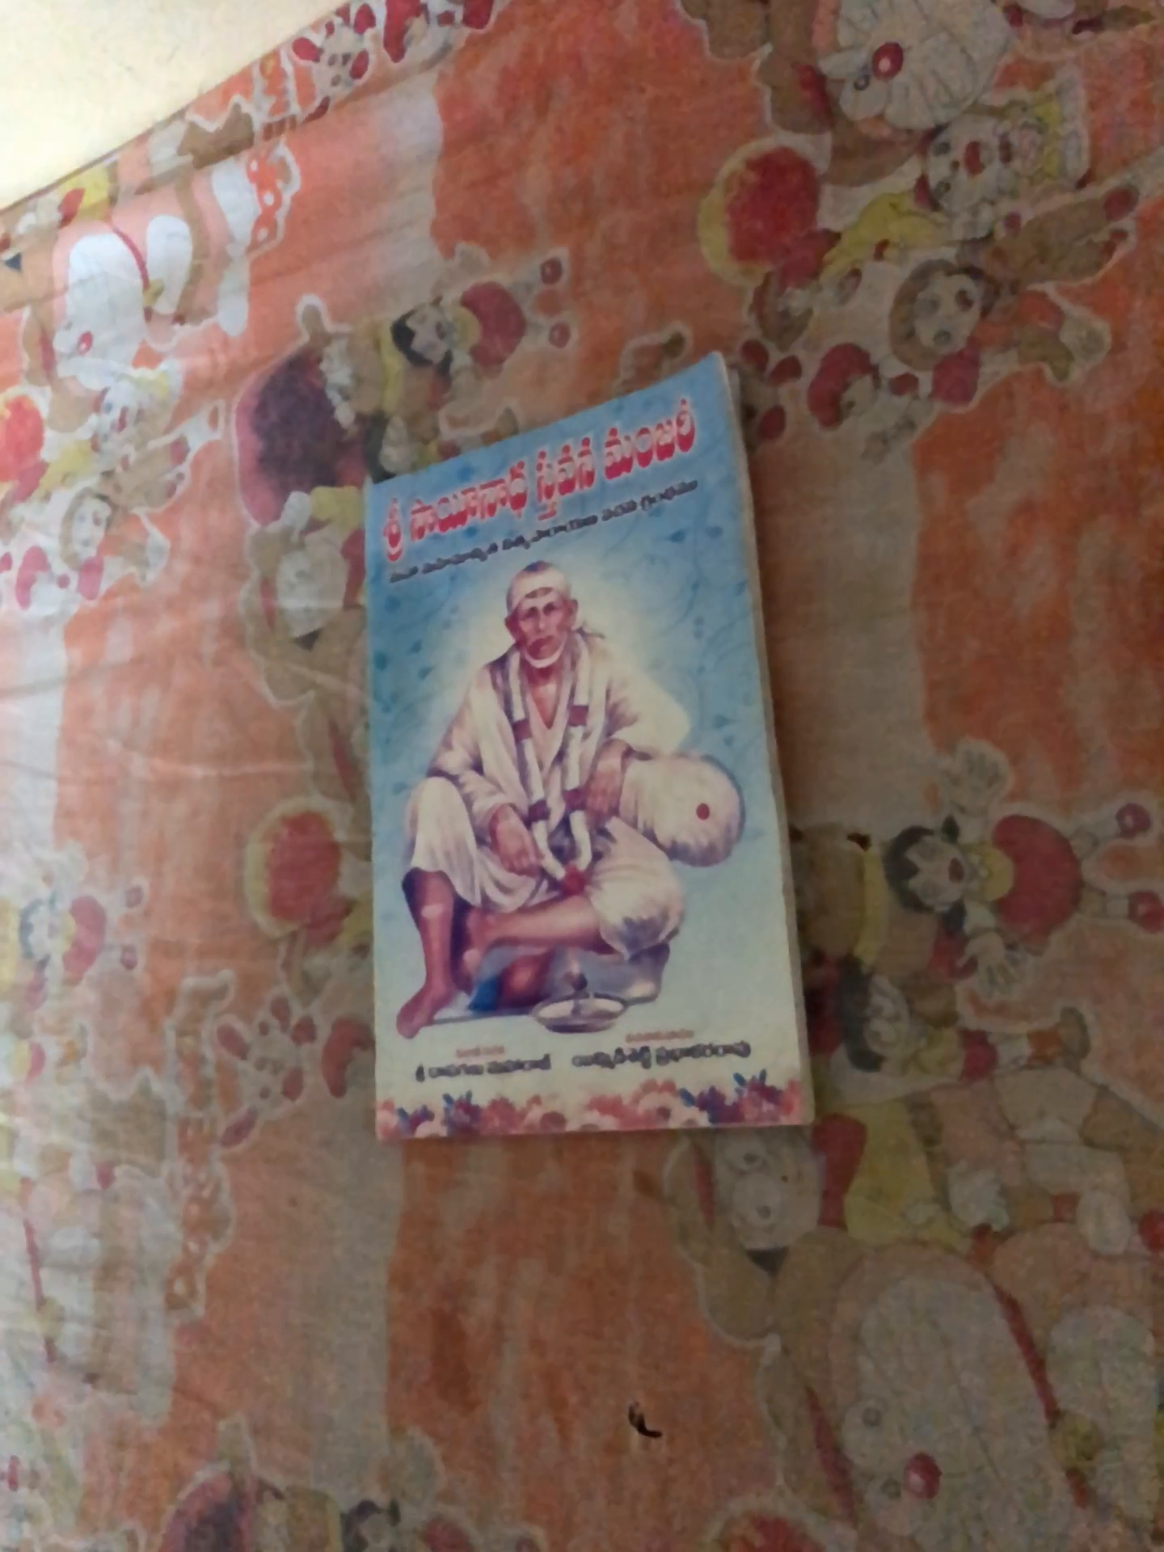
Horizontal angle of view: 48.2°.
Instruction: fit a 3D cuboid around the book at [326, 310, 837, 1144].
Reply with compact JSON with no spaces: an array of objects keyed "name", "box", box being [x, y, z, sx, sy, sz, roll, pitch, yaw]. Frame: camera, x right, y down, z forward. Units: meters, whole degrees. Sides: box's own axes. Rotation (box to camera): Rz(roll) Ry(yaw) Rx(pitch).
[{"name":"book","box":[-0.009,-0.009,0.379,0.140,0.020,0.220,-10,77,26]}]
